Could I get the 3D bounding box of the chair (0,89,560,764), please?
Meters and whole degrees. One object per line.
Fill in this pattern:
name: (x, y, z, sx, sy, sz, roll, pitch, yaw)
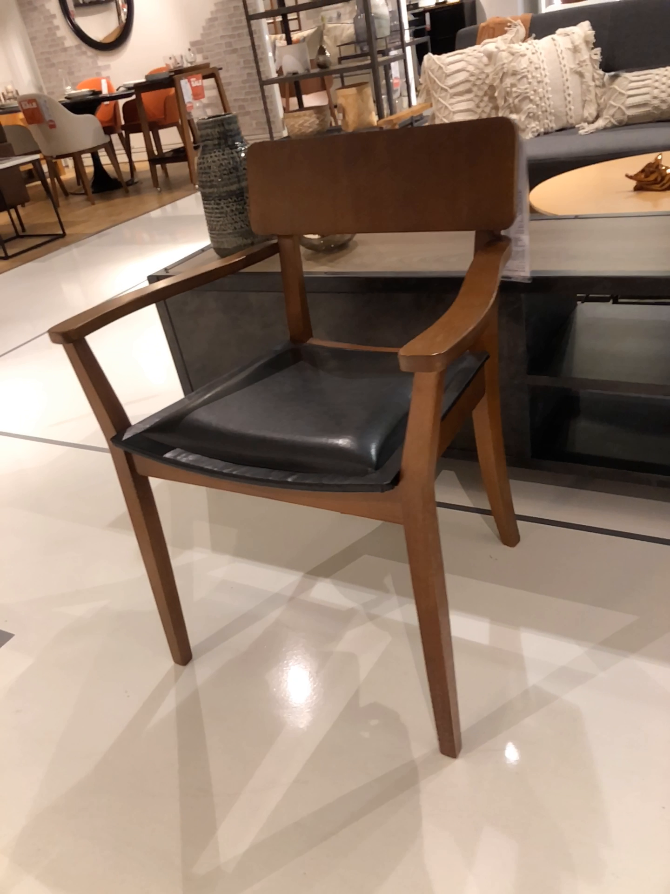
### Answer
chair: (-0.013, -0.074, 1.154, 0.561, 0.744, 0.573, 8, 34, 30)
